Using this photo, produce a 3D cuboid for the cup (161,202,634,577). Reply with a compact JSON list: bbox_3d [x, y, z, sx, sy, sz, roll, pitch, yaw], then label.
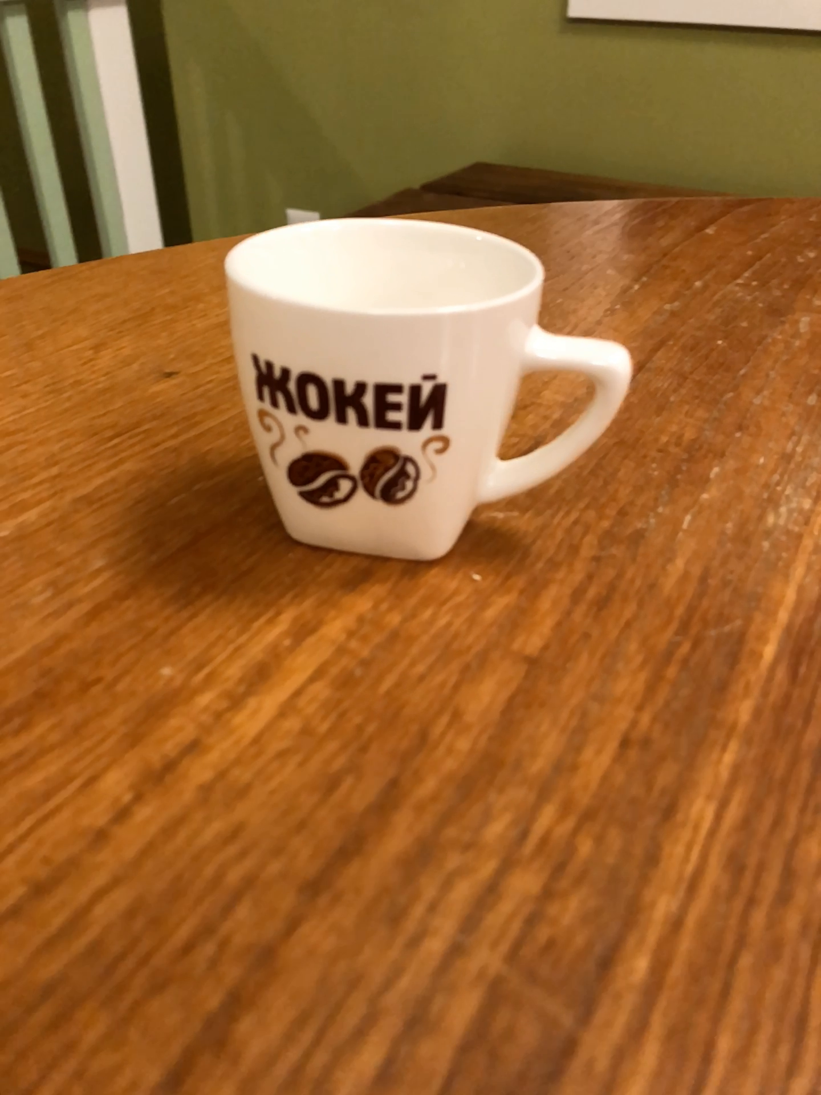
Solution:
[{"bbox_3d":[0.002,-0.036,0.183,0.075,0.047,0.060,8,35,12],"label":"cup"}]
